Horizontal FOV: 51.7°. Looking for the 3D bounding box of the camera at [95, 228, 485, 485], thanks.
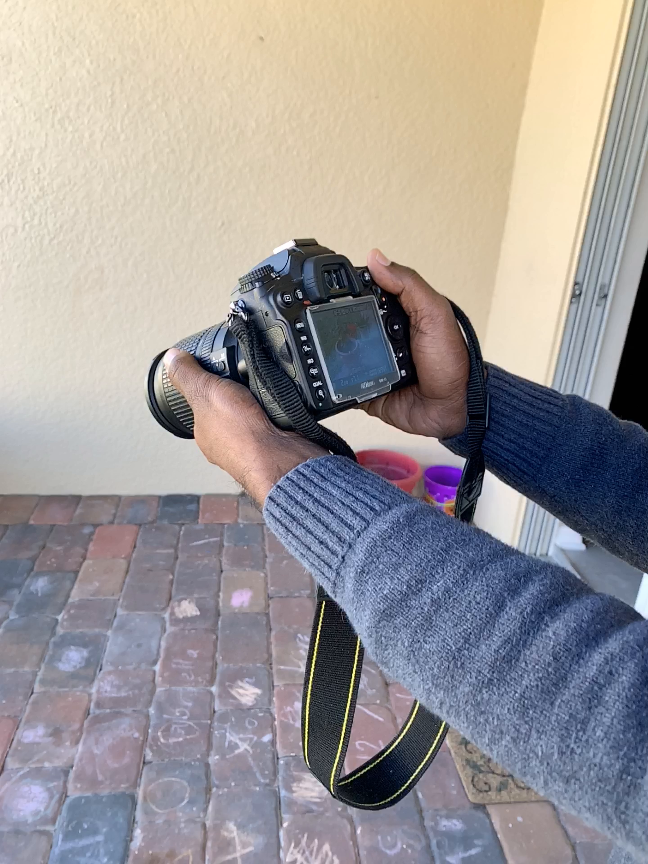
[{"bbox_3d":[-0.027,-0.045,0.434,0.199,0.100,0.131,-14,5,42],"label":"camera"}]
